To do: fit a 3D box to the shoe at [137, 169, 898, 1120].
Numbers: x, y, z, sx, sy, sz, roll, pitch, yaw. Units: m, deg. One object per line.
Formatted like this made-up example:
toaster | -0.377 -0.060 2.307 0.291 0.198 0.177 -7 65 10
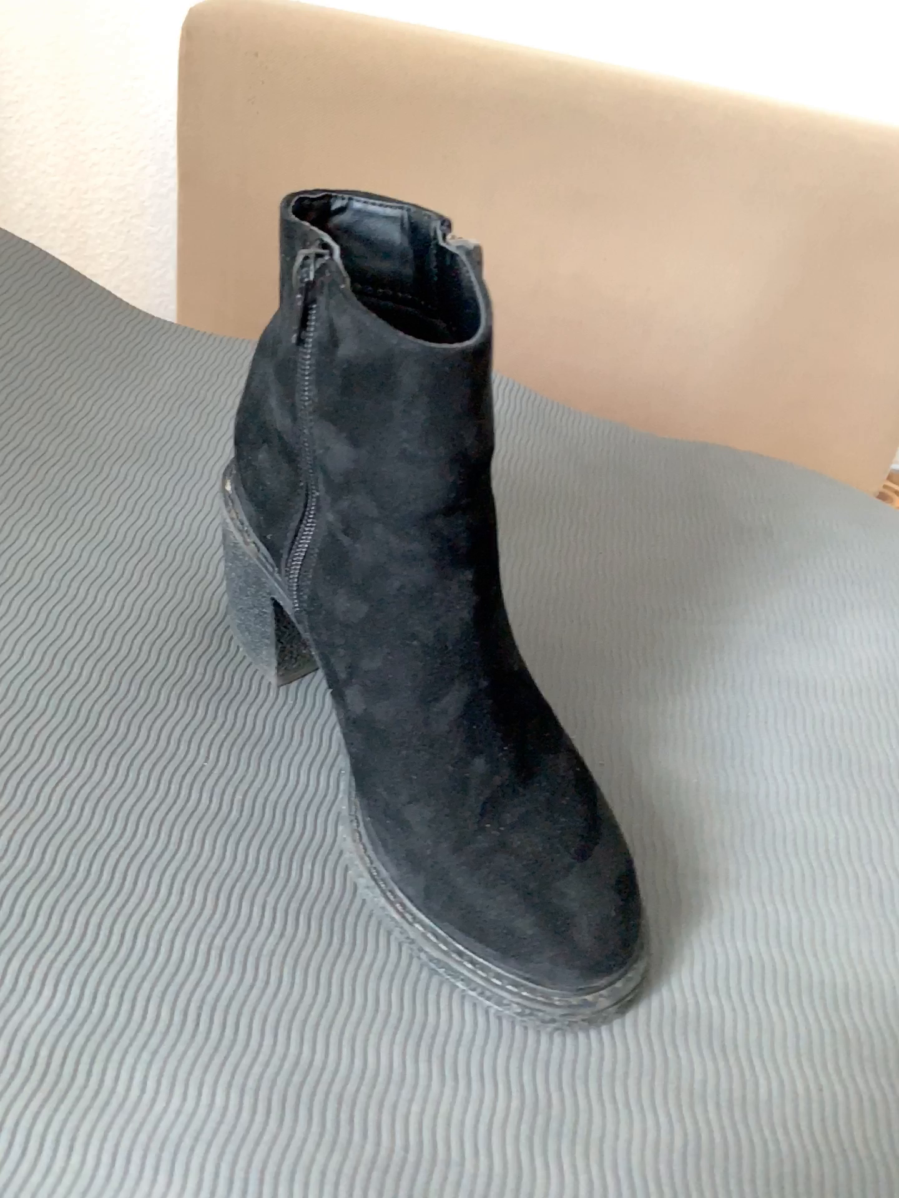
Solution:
shoe | -0.004 -0.009 0.298 0.098 0.179 0.241 -17 44 -32
